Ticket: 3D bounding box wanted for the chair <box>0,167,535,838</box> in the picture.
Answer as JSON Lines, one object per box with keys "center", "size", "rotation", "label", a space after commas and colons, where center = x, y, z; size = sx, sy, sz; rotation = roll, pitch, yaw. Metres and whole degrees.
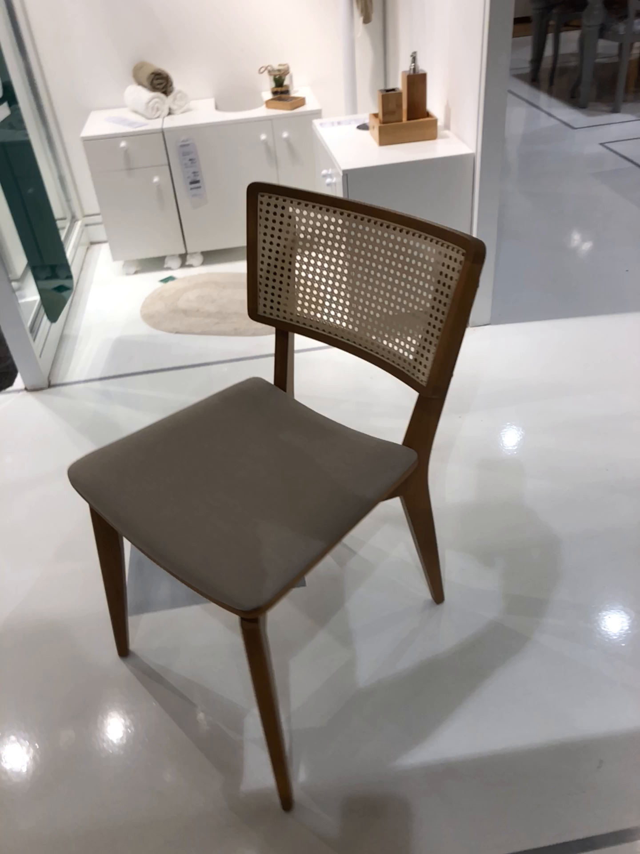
{"center": [-0.072, 0.087, 1.201], "size": [0.542, 0.794, 0.602], "rotation": [27, 47, 36], "label": "chair"}
